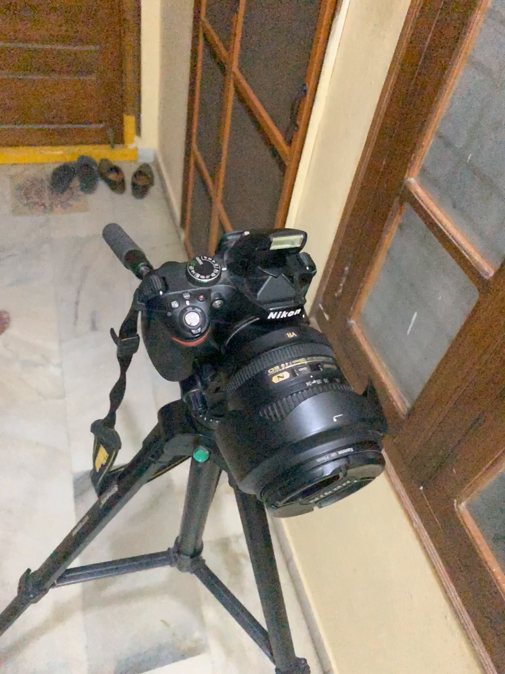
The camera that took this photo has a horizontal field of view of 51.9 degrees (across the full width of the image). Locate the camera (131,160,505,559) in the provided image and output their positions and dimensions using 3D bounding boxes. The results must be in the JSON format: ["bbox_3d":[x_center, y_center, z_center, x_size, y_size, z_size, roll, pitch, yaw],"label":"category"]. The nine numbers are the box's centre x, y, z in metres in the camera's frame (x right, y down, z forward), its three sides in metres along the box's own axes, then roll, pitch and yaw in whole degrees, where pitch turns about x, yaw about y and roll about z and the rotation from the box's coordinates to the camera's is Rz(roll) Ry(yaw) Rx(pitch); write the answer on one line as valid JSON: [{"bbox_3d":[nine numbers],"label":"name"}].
[{"bbox_3d":[0.019,0.000,0.337,0.150,0.129,0.201,-10,51,-20],"label":"camera"}]
